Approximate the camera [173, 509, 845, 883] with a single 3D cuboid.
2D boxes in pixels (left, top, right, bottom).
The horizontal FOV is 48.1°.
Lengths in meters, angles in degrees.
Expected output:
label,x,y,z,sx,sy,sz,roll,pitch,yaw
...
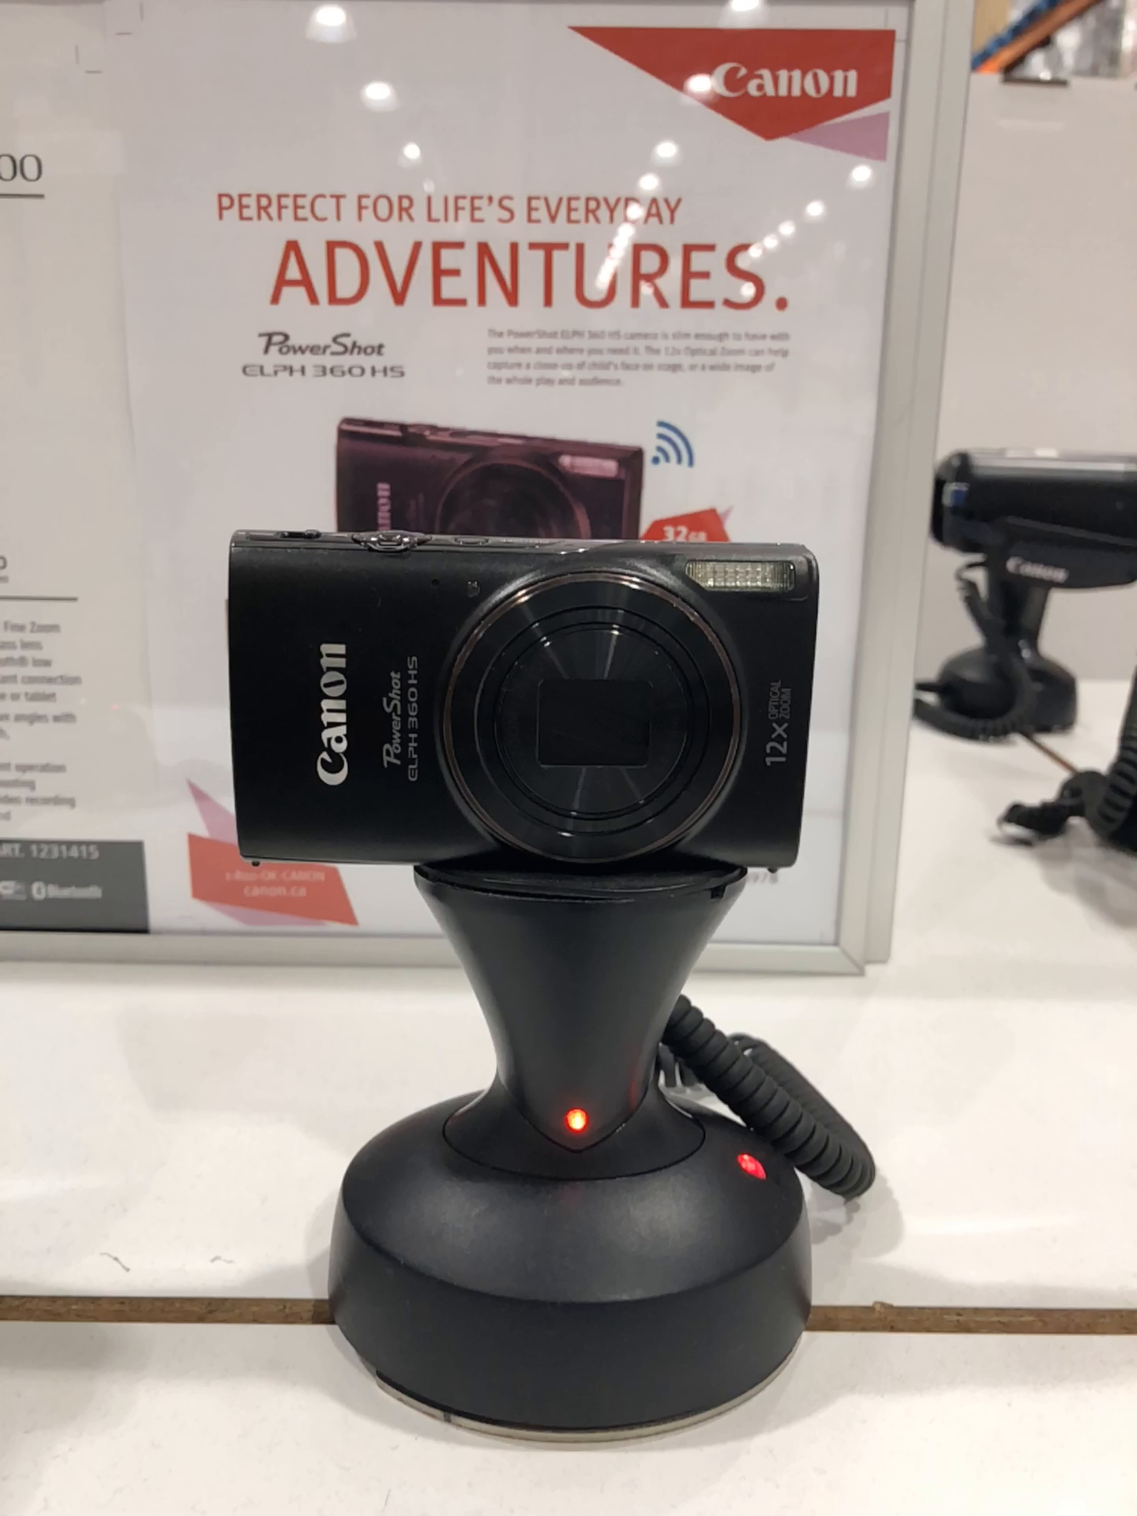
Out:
label,x,y,z,sx,sy,sz,roll,pitch,yaw
camera,-0.010,-0.012,0.231,0.110,0.060,0.030,1,15,-1
